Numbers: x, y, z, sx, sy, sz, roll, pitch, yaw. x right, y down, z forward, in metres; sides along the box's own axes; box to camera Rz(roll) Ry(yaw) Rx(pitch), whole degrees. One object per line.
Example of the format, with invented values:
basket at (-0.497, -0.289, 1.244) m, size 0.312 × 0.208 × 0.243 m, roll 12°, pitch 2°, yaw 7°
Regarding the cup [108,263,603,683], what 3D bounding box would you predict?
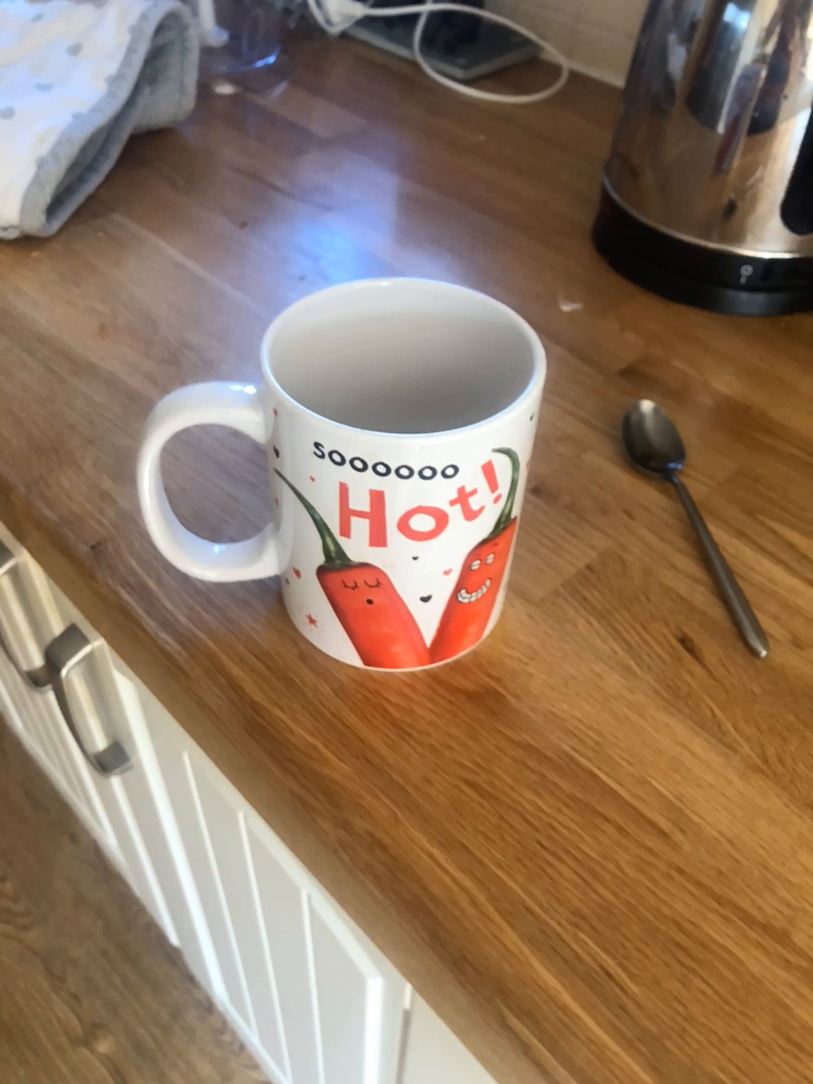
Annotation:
cup at (-0.018, -0.024, 0.322) m, size 0.136 × 0.109 × 0.097 m, roll -1°, pitch 46°, yaw -4°
